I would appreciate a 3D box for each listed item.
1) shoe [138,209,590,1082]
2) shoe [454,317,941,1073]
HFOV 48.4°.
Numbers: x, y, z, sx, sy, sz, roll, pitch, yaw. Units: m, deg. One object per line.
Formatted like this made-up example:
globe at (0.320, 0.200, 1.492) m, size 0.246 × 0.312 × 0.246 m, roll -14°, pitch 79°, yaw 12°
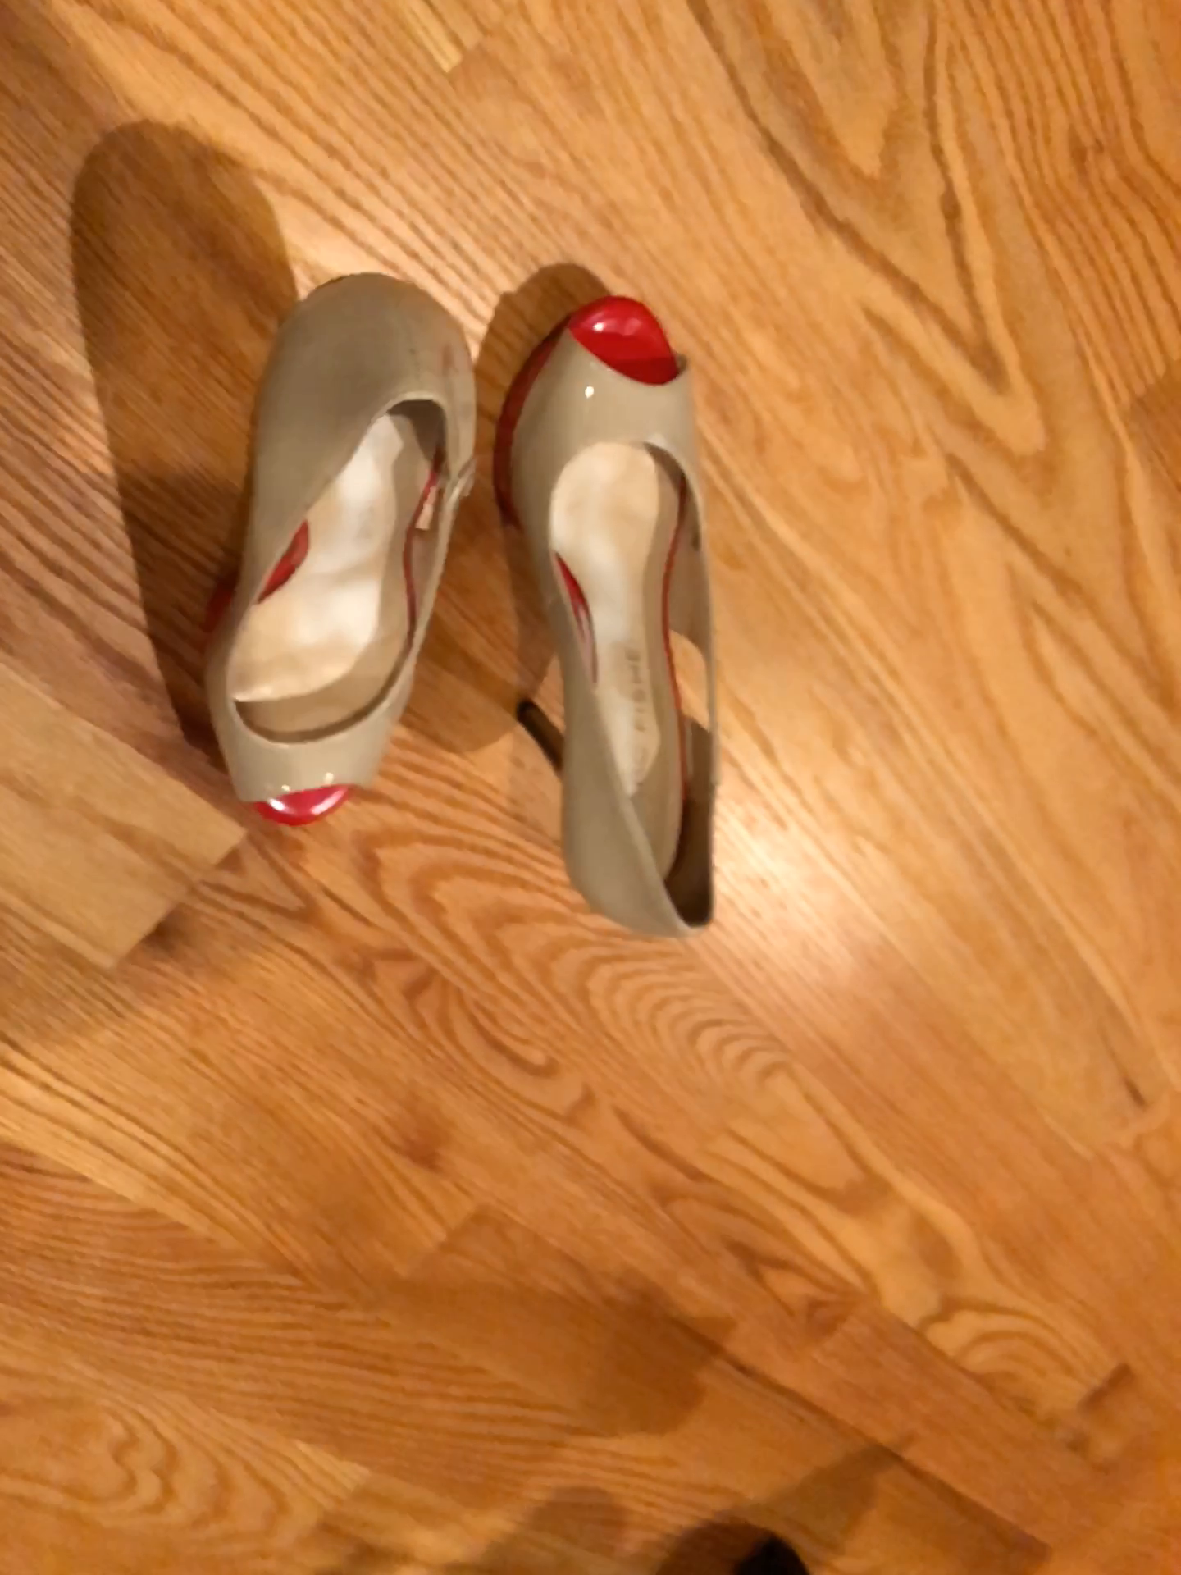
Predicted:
shoe at (-0.081, -0.045, 0.392) m, size 0.085 × 0.130 × 0.215 m, roll -3°, pitch 117°, yaw -25°
shoe at (0.022, -0.039, 0.470) m, size 0.080 × 0.149 × 0.220 m, roll -5°, pitch 118°, yaw -25°
